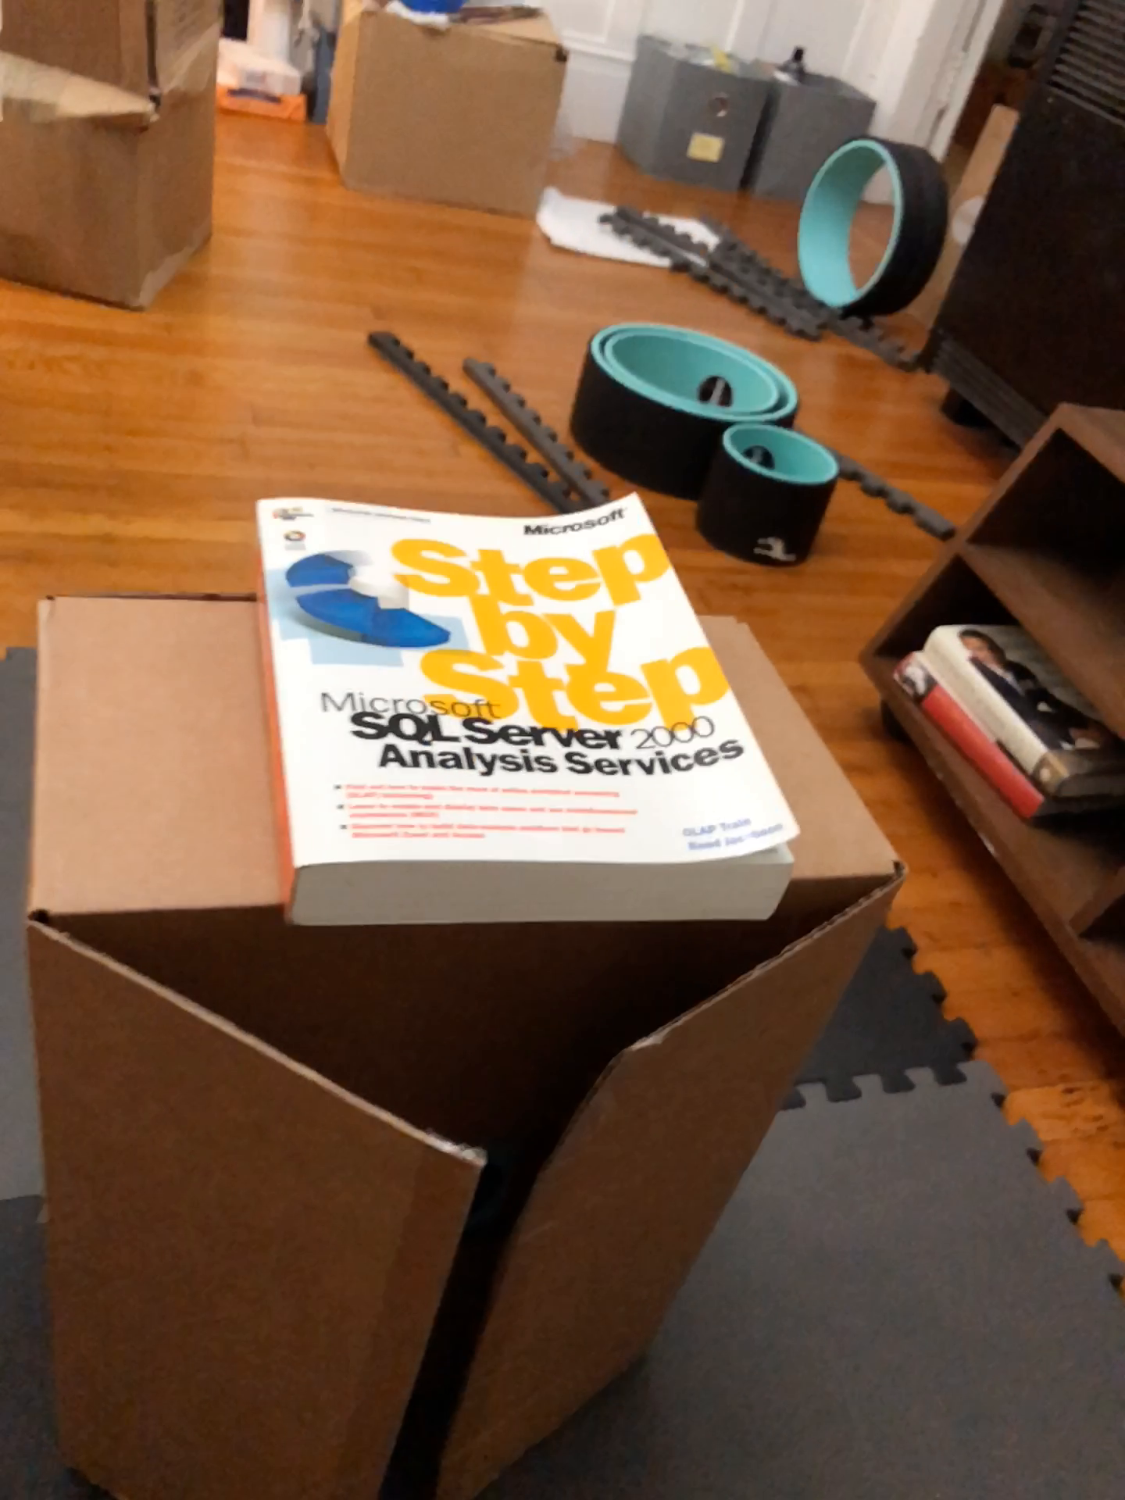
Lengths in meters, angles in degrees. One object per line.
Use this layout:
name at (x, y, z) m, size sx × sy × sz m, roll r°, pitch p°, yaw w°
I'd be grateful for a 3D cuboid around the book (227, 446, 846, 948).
book at (-0.026, -0.030, 0.518) m, size 0.200 × 0.050 × 0.241 m, roll 2°, pitch 42°, yaw -23°
